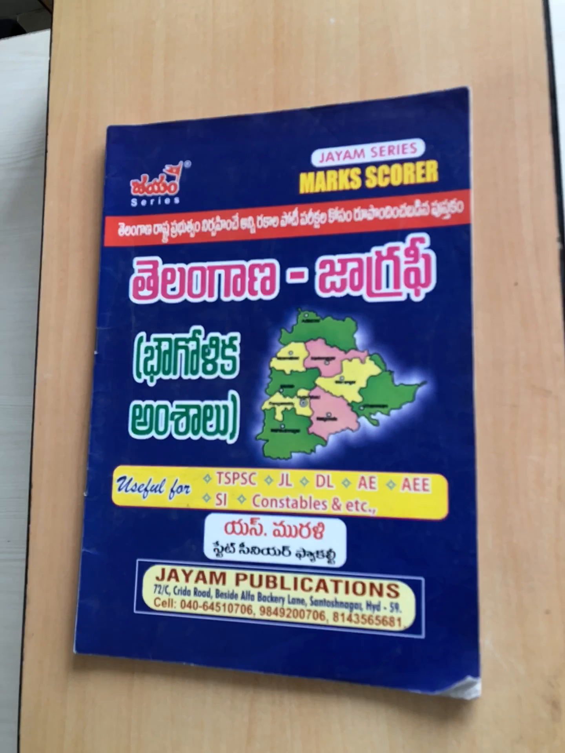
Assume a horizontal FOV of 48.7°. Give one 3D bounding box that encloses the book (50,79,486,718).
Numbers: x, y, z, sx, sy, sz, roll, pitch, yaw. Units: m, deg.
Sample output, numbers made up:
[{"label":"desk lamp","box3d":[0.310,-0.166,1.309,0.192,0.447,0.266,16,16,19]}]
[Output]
[{"label":"book","box3d":[-0.005,0.002,0.315,0.200,0.040,0.280,0,82,14]}]
